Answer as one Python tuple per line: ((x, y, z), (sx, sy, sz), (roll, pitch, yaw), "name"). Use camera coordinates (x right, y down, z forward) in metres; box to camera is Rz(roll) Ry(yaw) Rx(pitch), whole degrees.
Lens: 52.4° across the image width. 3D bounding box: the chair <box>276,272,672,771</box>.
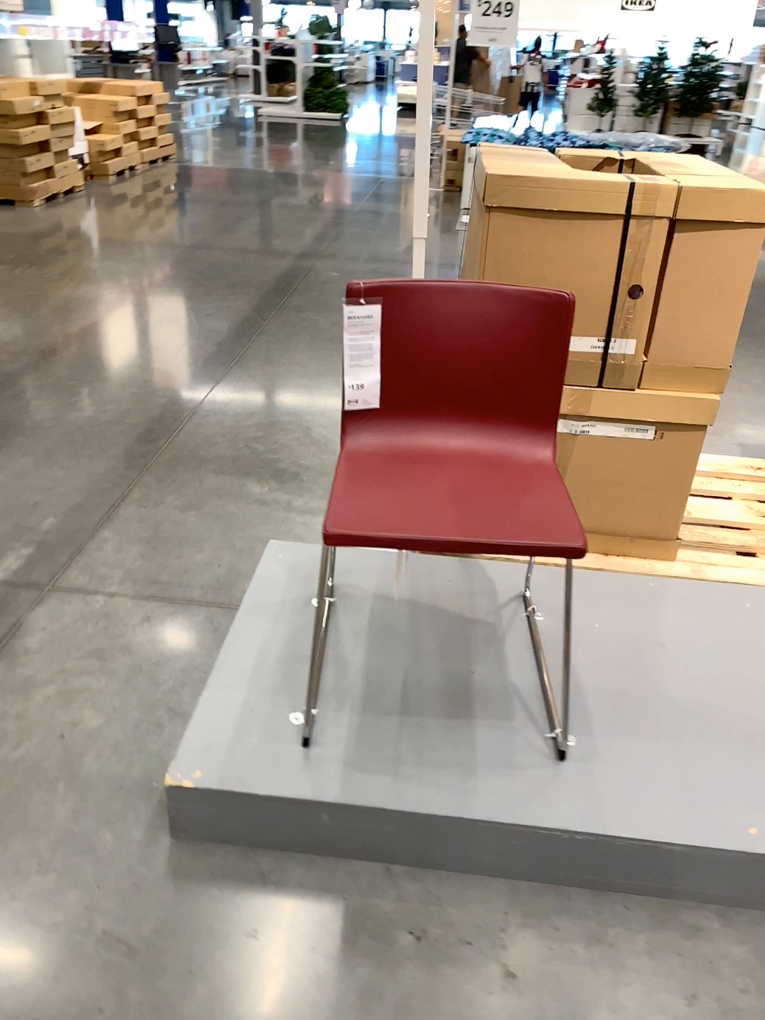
((0.115, 0.003, 1.460), (0.530, 0.726, 0.553), (3, 30, 0), "chair")
